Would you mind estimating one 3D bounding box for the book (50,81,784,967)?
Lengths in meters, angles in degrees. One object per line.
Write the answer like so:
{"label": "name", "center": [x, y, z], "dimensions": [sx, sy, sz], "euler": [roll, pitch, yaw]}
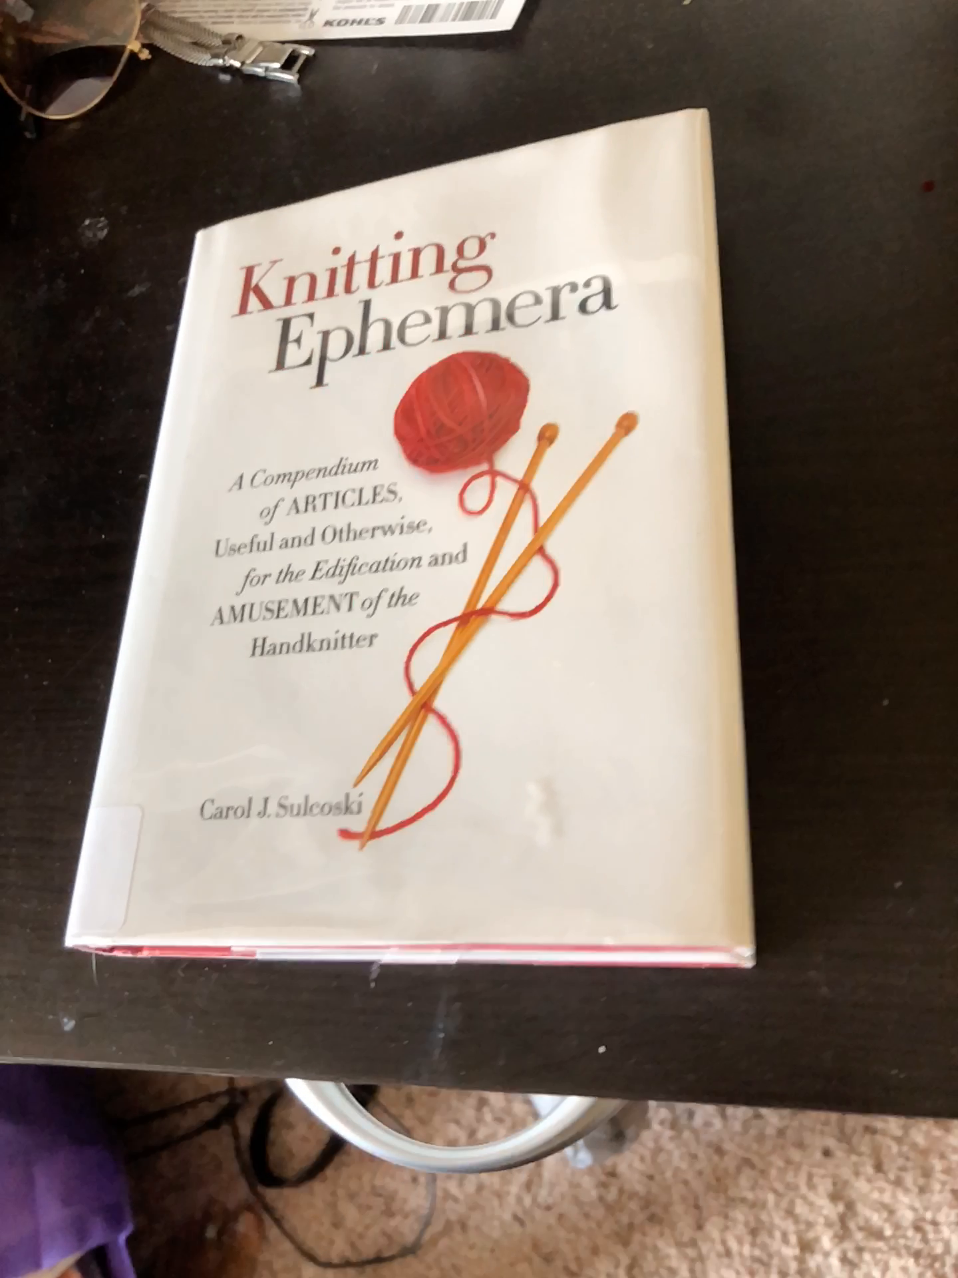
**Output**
{"label": "book", "center": [-0.011, -0.025, 0.228], "dimensions": [0.132, 0.029, 0.178], "euler": [-5, 67, 18]}
